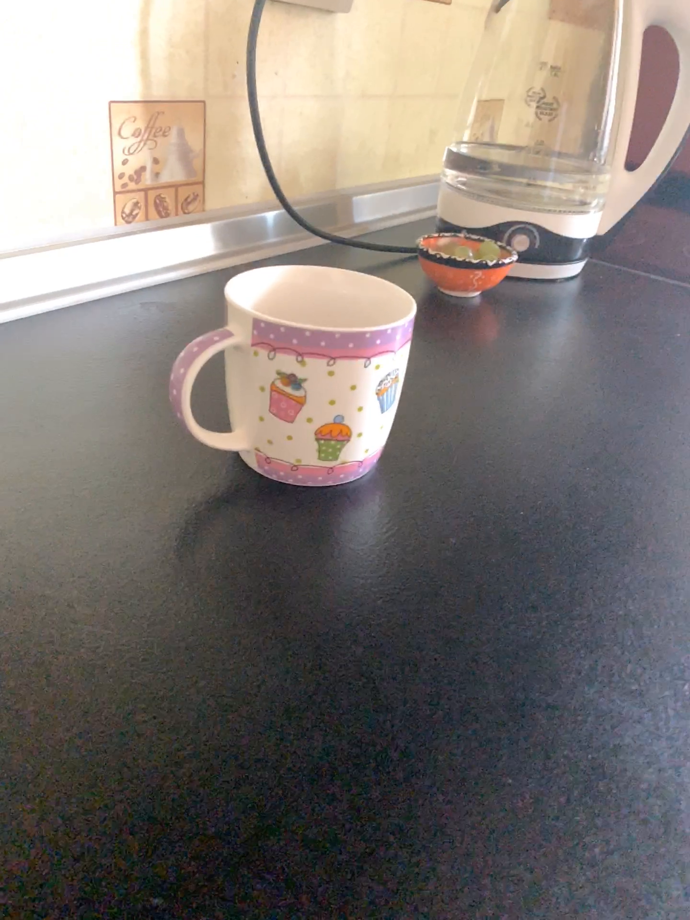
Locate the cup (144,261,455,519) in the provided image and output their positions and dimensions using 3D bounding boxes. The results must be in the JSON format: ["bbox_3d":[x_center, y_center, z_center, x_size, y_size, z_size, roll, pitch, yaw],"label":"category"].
[{"bbox_3d":[-0.025,-0.038,0.324,0.110,0.080,0.080,-10,34,-27],"label":"cup"}]
